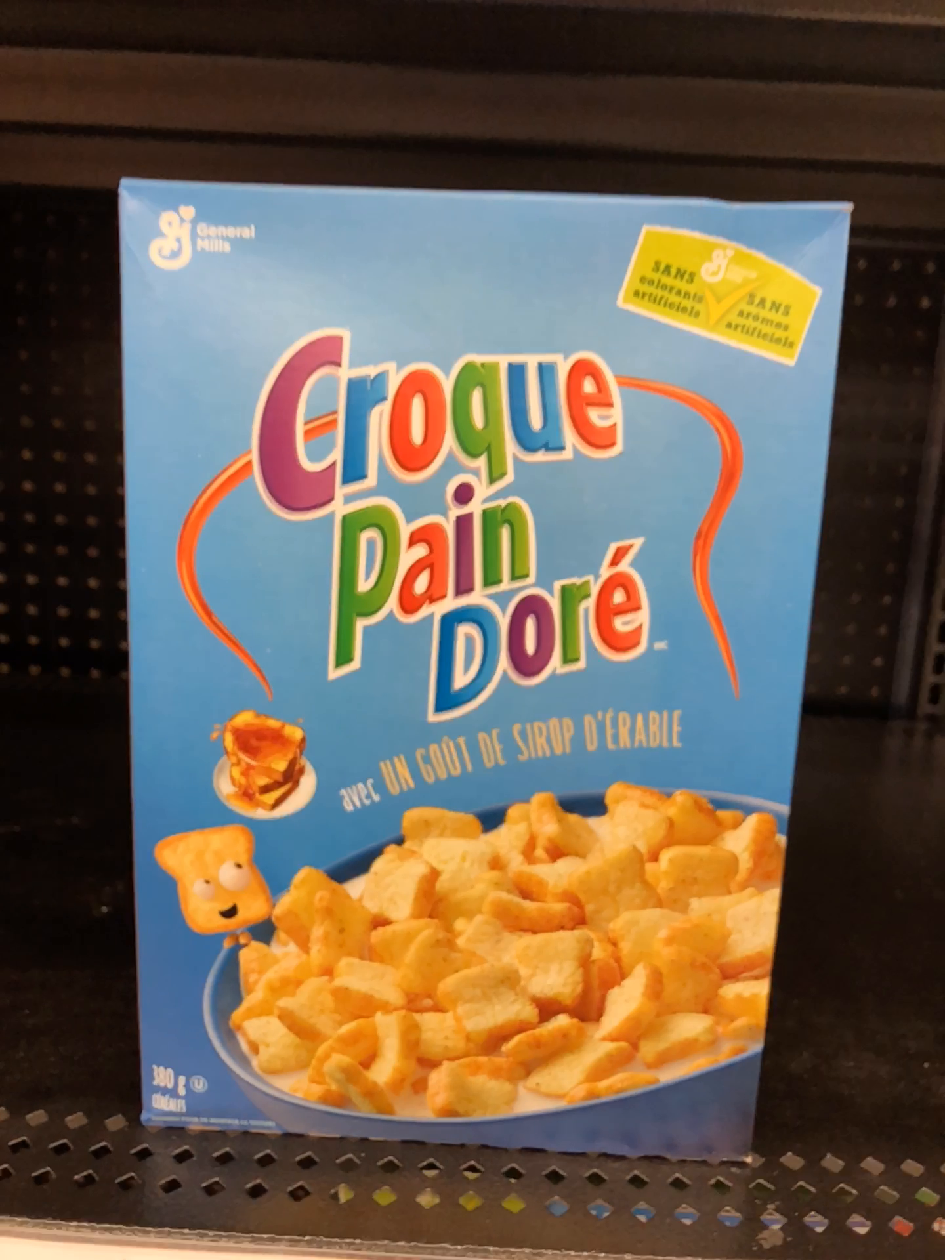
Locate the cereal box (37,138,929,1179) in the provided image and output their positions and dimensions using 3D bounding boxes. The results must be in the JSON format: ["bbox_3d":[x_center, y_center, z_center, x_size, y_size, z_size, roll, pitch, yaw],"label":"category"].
[{"bbox_3d":[-0.004,0.015,0.300,0.210,0.269,0.050,3,12,0],"label":"cereal box"}]
